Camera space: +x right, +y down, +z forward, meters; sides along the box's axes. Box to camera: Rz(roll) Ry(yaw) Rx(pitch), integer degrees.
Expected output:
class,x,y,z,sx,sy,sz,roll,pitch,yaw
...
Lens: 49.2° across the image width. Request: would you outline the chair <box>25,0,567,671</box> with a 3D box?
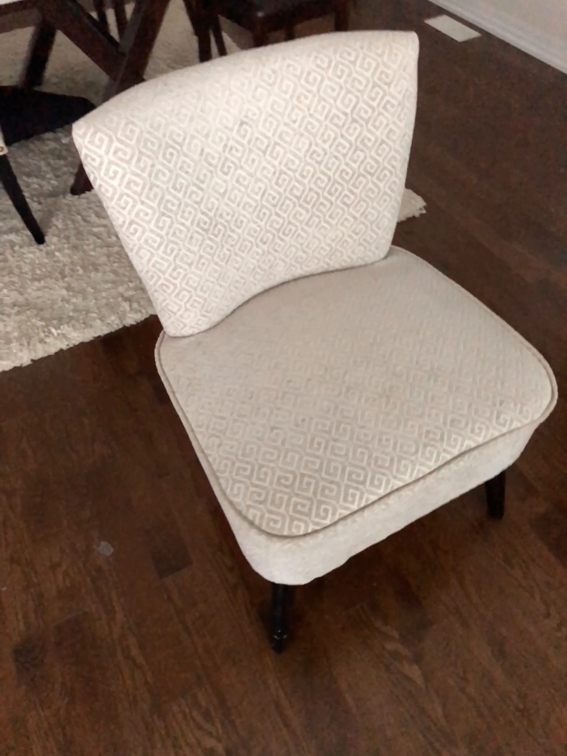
class,x,y,z,sx,sy,sz,roll,pitch,yaw
chair,0.070,-0.068,1.066,0.600,0.798,0.642,-24,53,-17
